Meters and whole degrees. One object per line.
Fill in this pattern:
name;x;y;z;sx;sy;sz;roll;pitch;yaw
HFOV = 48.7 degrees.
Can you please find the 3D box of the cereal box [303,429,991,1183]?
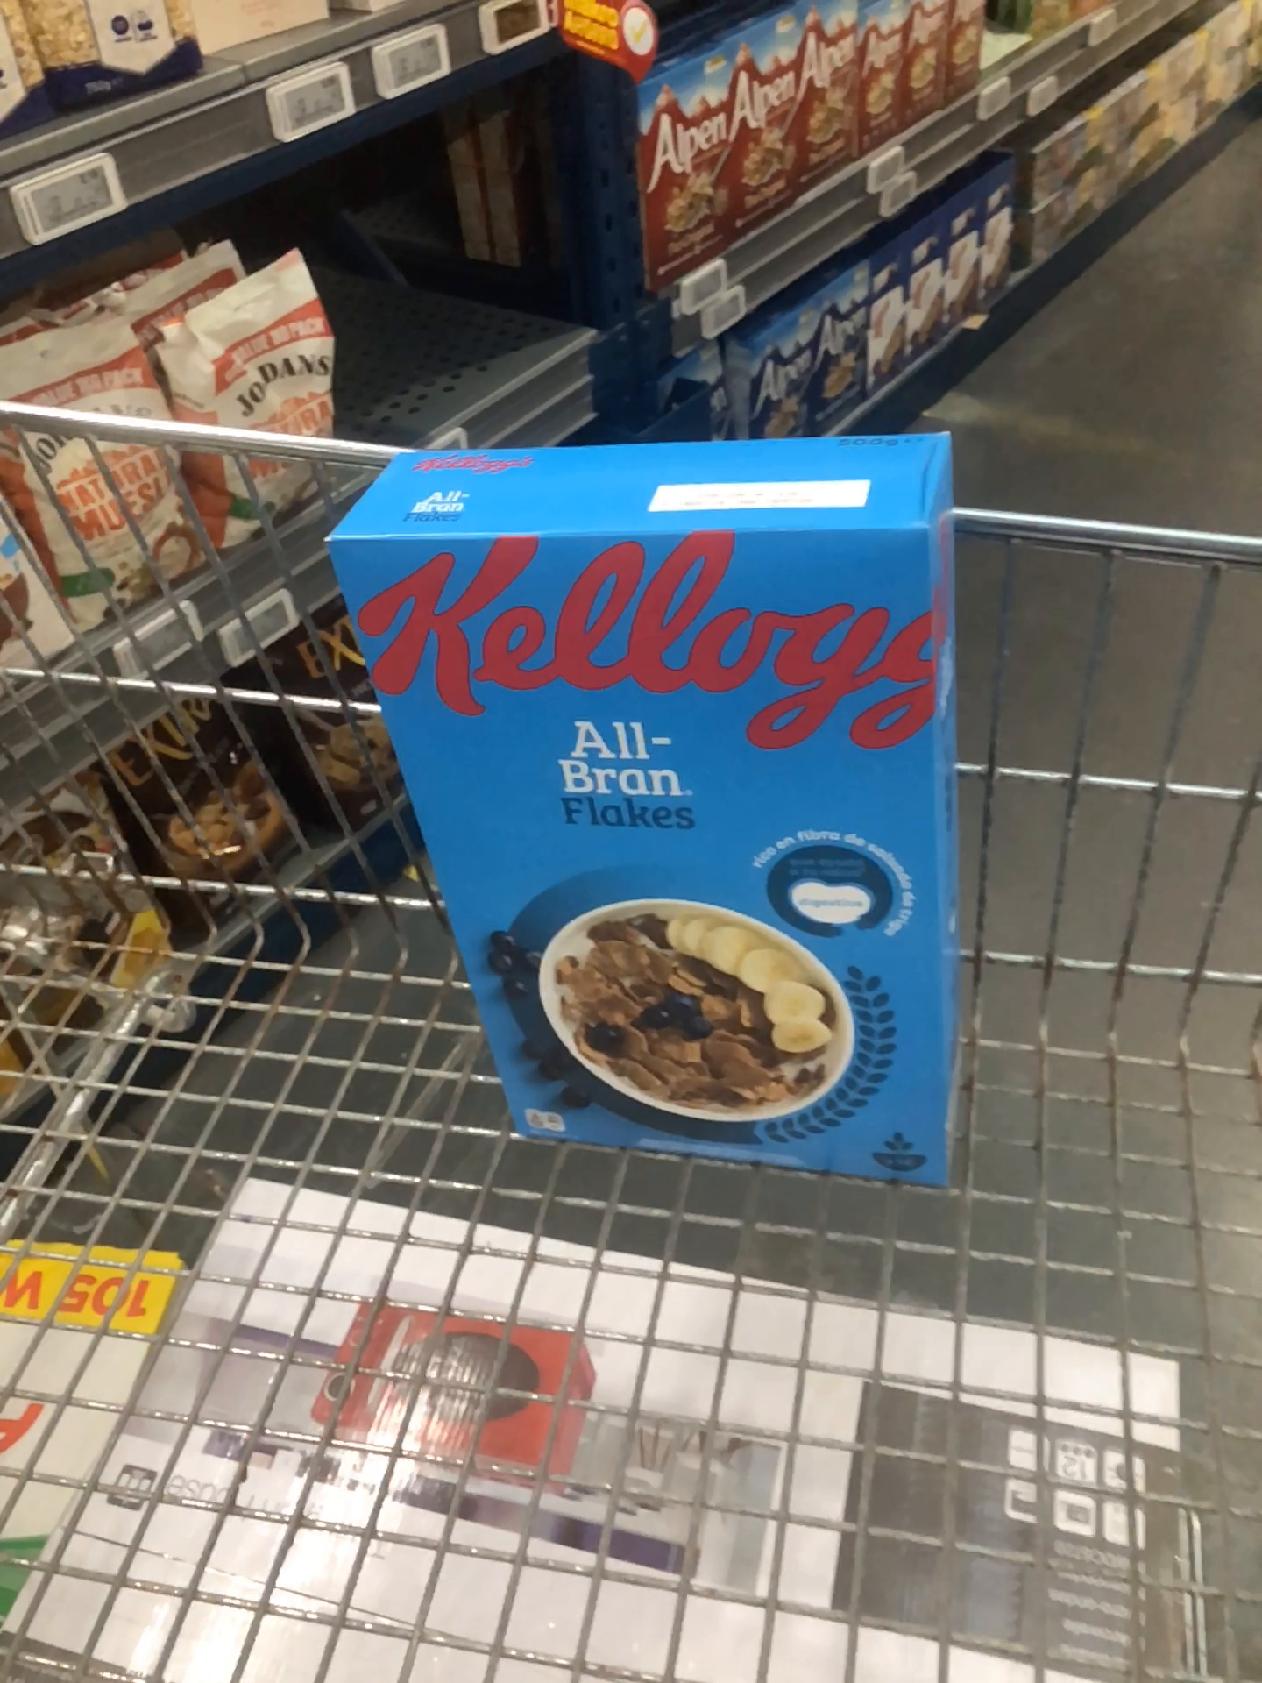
cereal box;0.022;-0.003;0.511;0.200;0.269;0.080;3;39;14
